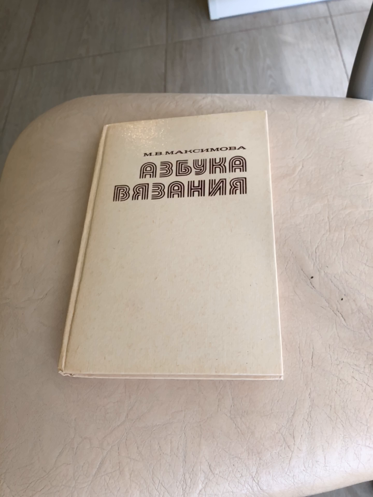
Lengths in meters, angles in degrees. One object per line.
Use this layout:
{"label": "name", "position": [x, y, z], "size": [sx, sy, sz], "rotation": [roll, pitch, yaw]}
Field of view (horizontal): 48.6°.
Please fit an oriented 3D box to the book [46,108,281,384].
{"label": "book", "position": [-0.010, -0.013, 0.317], "size": [0.148, 0.024, 0.218], "rotation": [-2, 61, 11]}
